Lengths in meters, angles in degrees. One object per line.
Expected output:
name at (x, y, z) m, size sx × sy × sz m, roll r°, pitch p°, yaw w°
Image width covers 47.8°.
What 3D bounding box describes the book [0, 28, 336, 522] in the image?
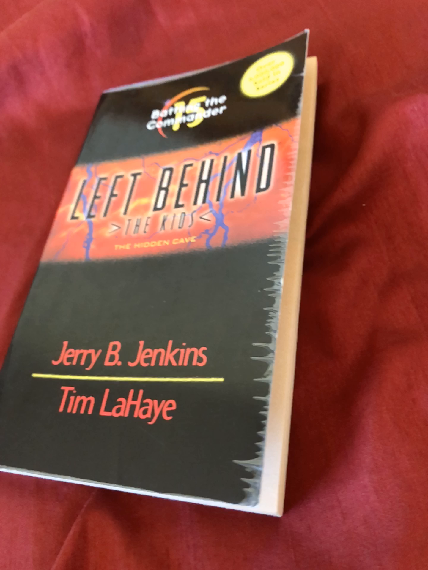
book at (-0.018, -0.016, 0.180) m, size 0.111 × 0.026 × 0.170 m, roll -1°, pitch 62°, yaw 23°
